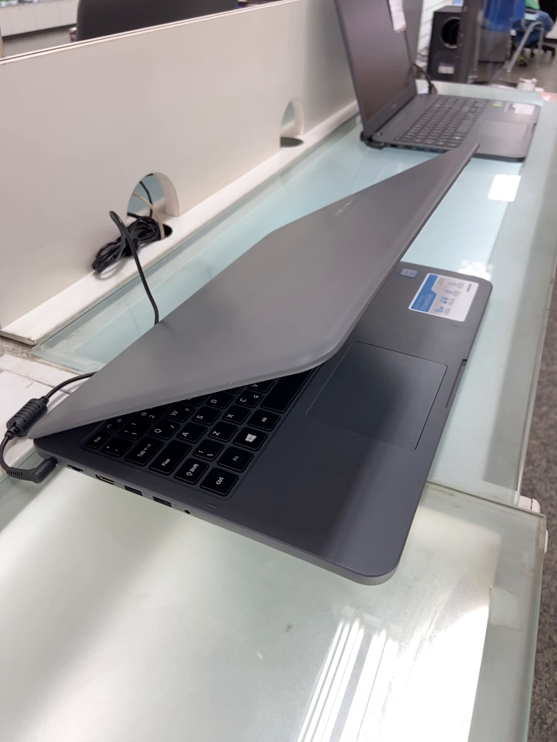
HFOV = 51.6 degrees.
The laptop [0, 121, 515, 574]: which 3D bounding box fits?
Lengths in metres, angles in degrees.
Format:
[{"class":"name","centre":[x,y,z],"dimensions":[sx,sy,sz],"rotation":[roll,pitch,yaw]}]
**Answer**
[{"class":"laptop","centre":[0.021,-0.072,0.439],"dimensions":[0.237,0.126,0.369],"rotation":[16,38,19]}]
